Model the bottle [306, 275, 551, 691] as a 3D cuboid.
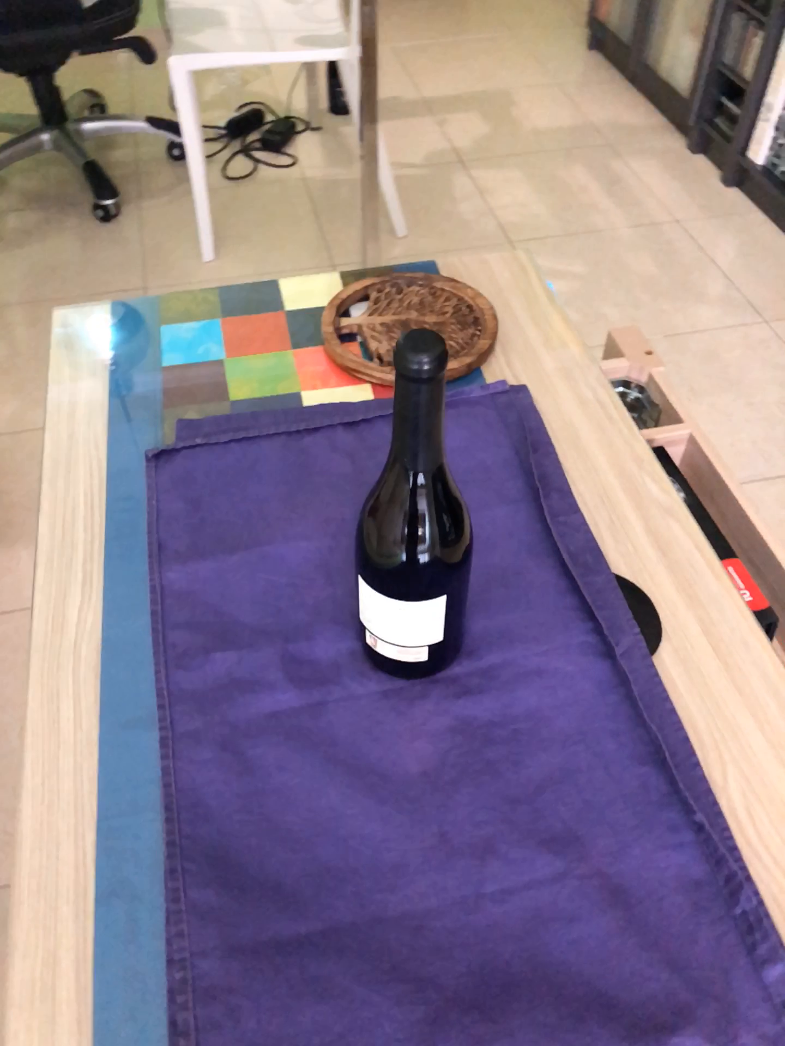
[{"bbox_3d":[0.023,-0.014,0.574,0.110,0.259,0.100,0,48,0],"label":"bottle"}]
